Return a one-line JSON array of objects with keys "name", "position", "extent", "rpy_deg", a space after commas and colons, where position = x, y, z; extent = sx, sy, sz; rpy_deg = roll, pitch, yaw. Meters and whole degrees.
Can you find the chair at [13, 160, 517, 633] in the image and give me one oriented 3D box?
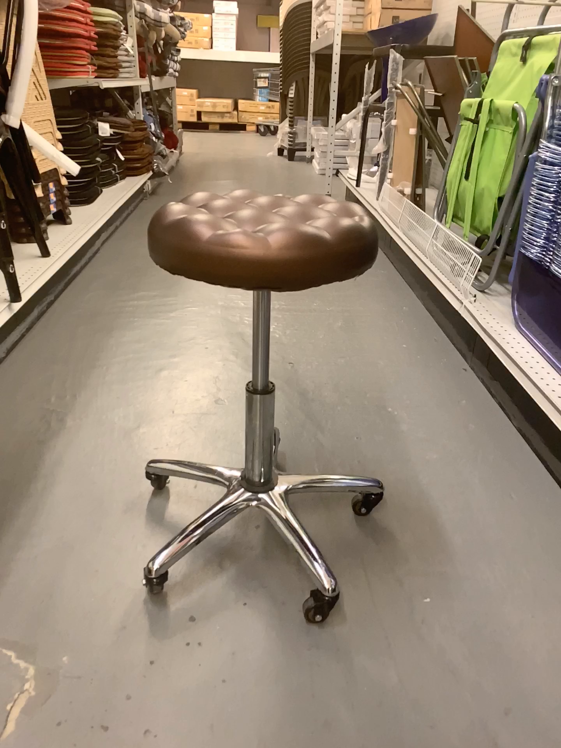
[{"name": "chair", "position": [-0.026, -0.003, 0.921], "extent": [0.501, 0.574, 0.514], "rpy_deg": [2, 27, -1]}]
